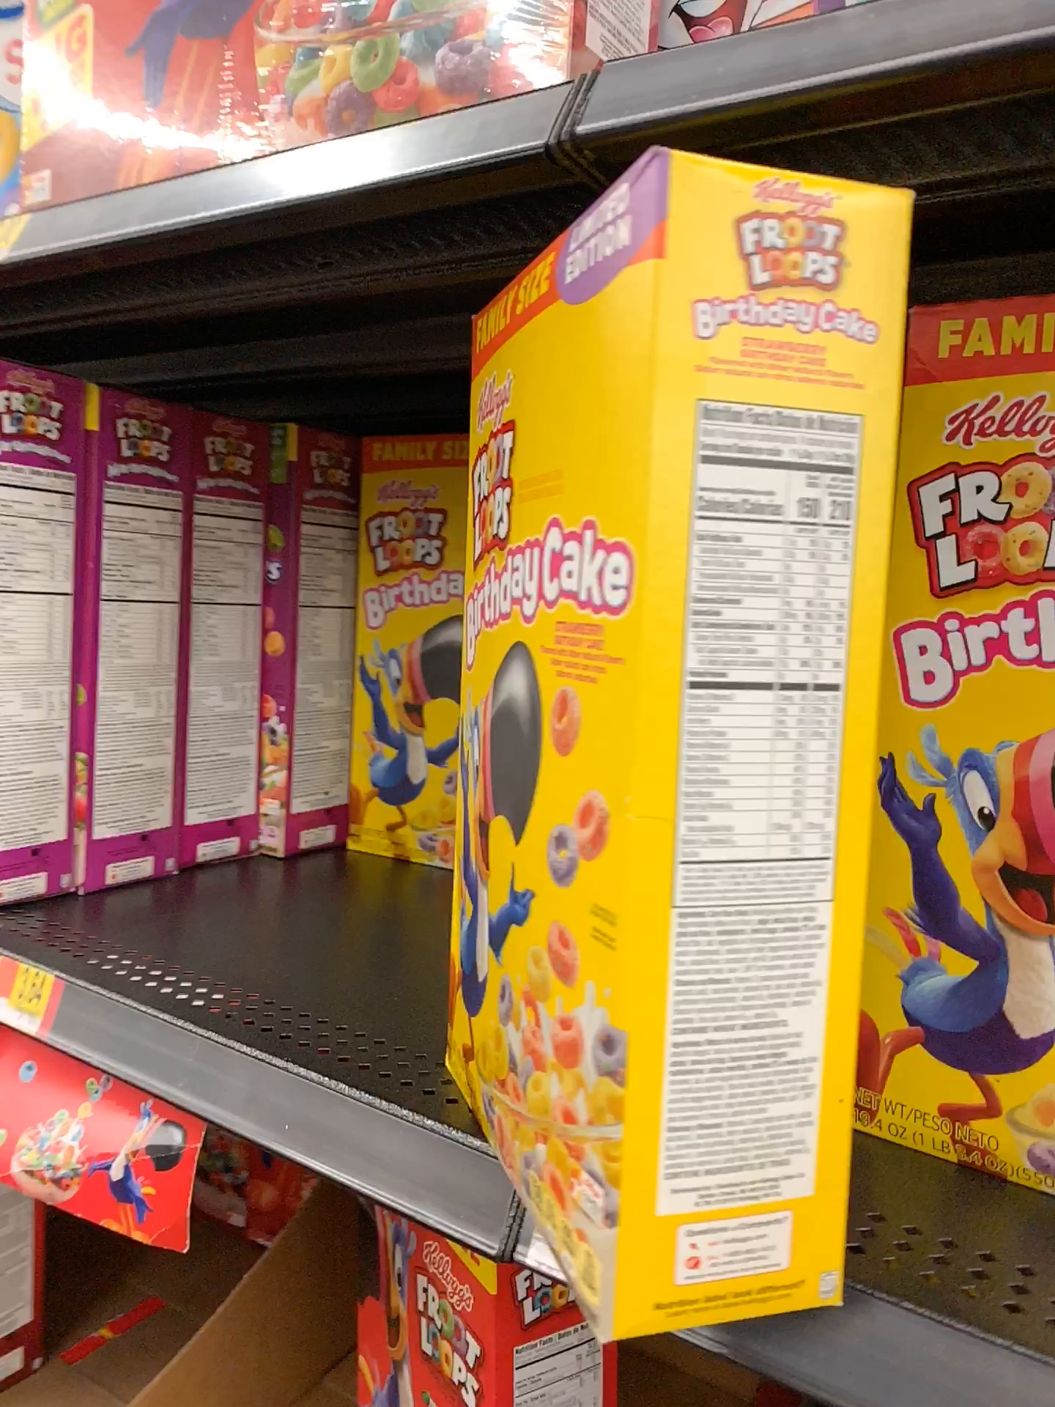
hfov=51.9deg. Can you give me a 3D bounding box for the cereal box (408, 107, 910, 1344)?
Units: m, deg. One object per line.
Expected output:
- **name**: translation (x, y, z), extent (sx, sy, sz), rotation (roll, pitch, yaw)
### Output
- **cereal box**: translation (0.025, 0.003, 0.394), extent (0.080, 0.330, 0.200), rotation (2, 6, -18)
